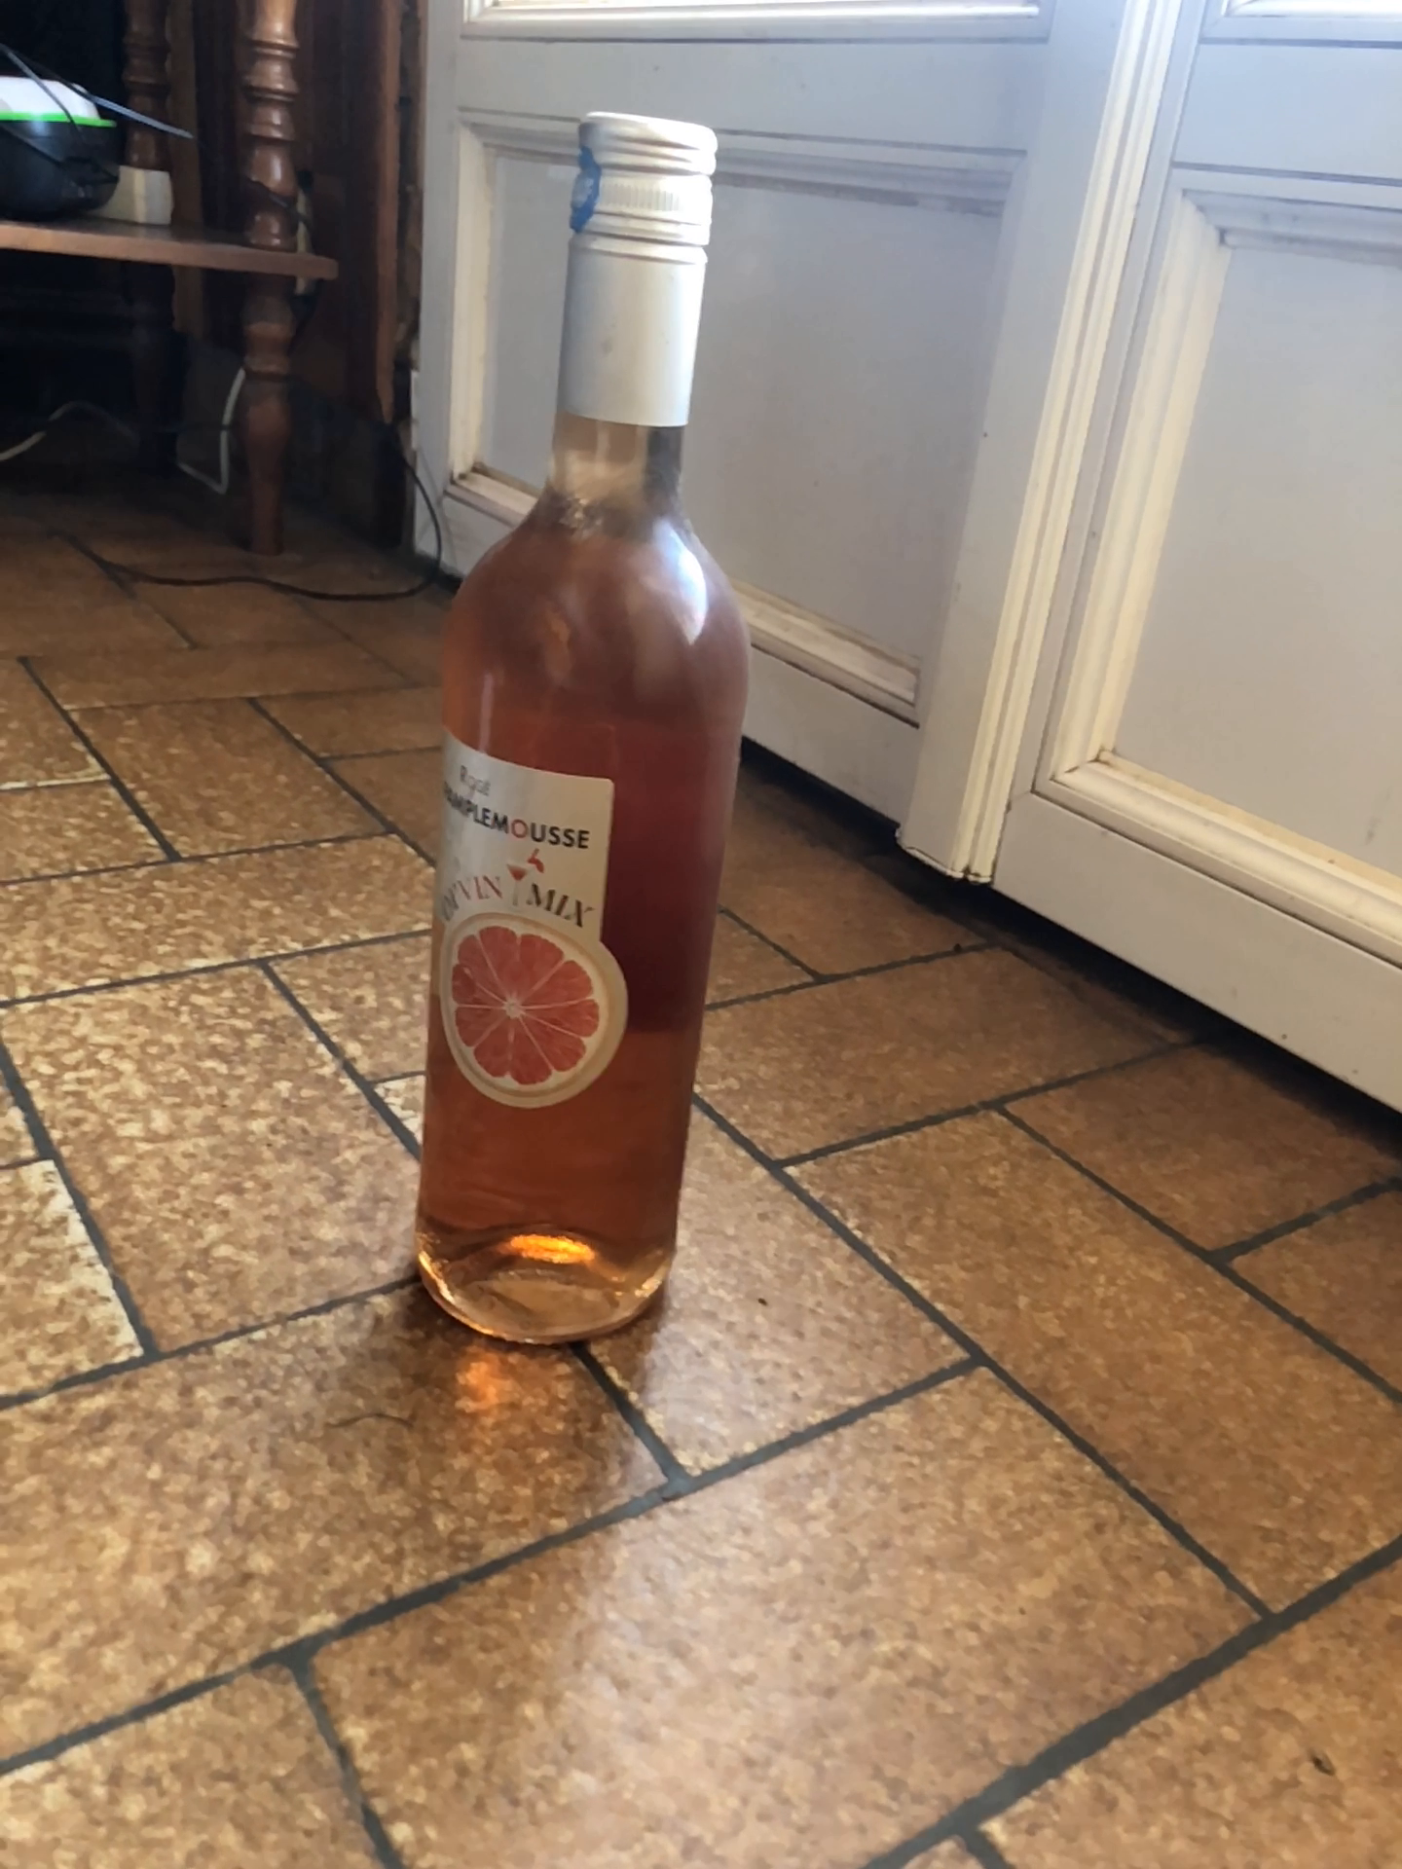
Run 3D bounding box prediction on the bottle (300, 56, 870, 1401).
[{"bbox_3d":[-0.038,-0.039,0.372,0.080,0.288,0.080,6,25,-3],"label":"bottle"}]
